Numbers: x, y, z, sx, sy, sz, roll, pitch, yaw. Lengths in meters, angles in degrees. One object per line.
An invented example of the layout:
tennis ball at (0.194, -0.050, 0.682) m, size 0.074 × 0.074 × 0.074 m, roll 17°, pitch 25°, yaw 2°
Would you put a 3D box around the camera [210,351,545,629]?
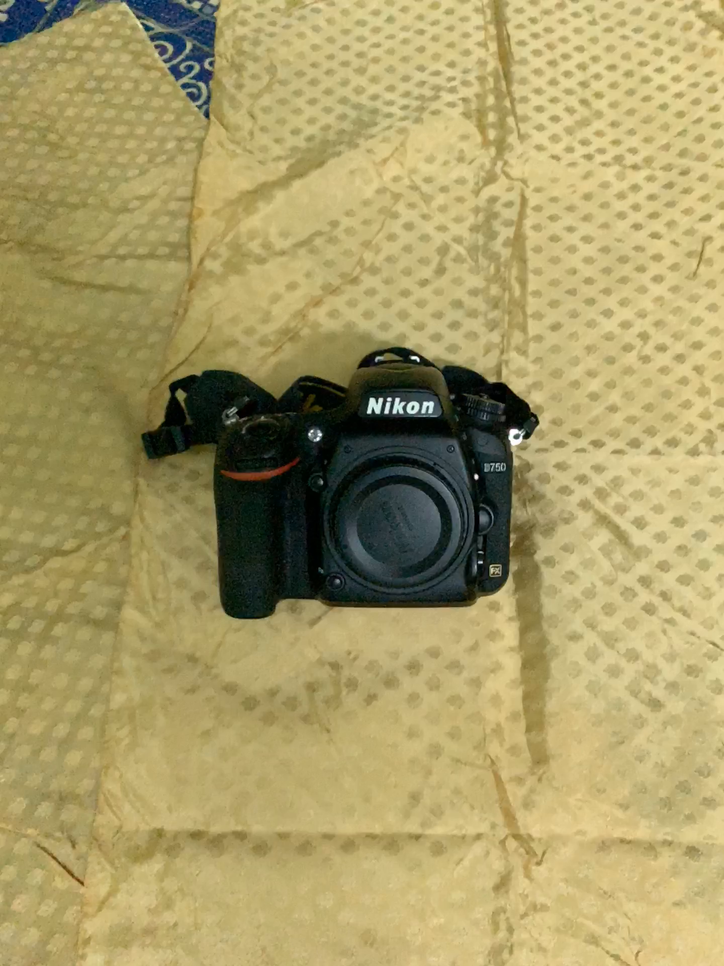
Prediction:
camera at (0.006, -0.002, 0.337) m, size 0.130 × 0.073 × 0.110 m, roll 1°, pitch 102°, yaw 1°
